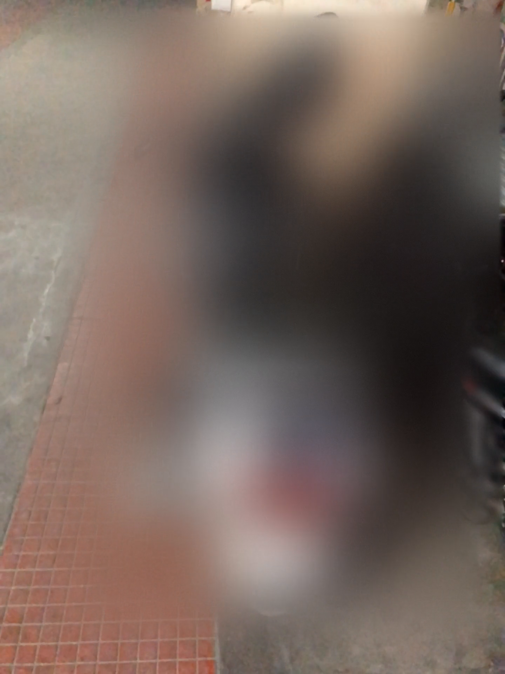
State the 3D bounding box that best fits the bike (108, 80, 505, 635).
[{"bbox_3d":[-0.112,-0.080,1.702,0.595,0.988,1.501,-1,35,-13],"label":"bike"}]
